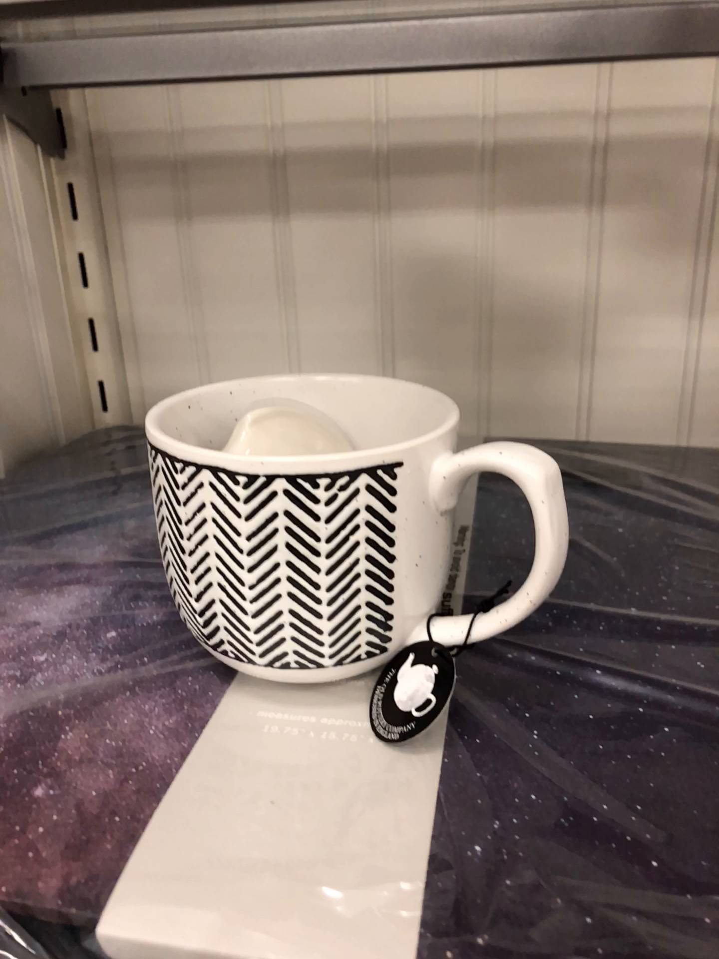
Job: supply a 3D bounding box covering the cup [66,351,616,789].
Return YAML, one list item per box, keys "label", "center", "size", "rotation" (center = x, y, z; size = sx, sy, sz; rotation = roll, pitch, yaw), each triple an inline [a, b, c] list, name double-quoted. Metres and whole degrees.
- label: "cup"
  center: [-0.004, 0.013, 0.256]
  size: [0.140, 0.079, 0.090]
  rotation: [11, 25, 30]
